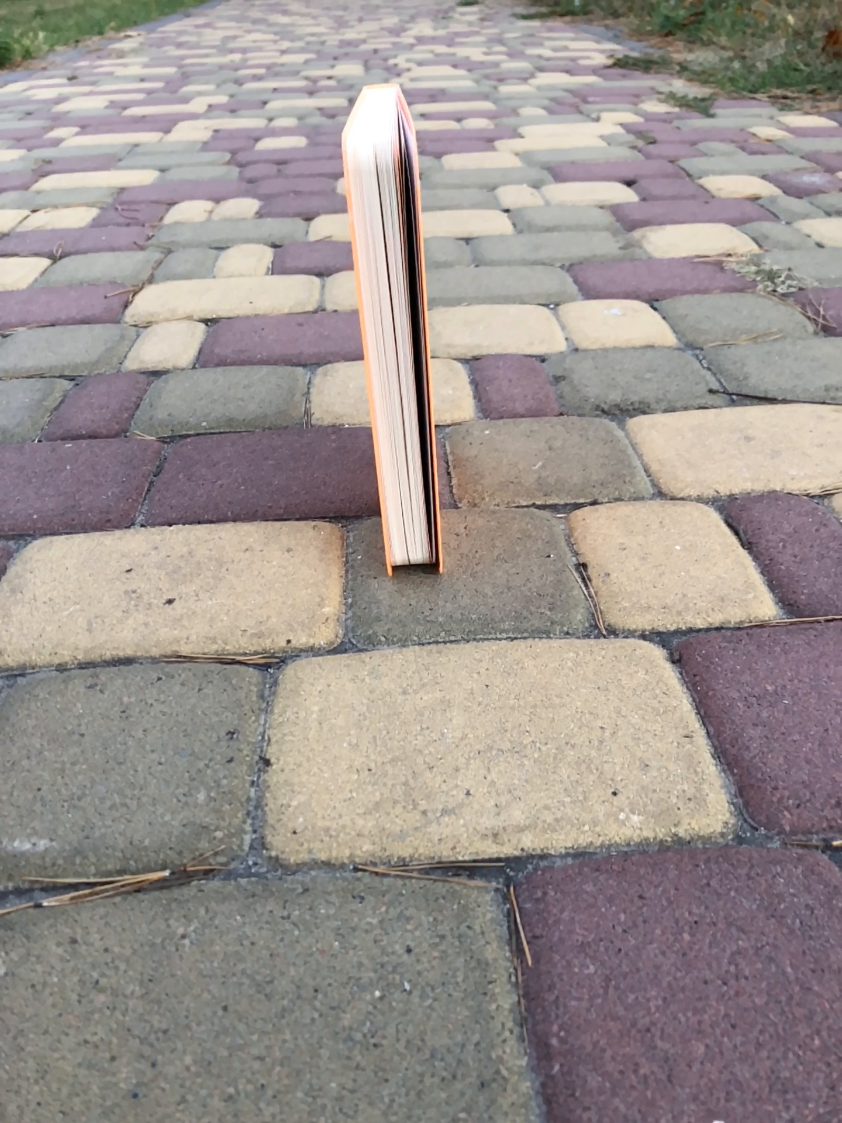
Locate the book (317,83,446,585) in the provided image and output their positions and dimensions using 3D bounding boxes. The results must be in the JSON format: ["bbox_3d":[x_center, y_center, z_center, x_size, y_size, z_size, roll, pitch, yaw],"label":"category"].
[{"bbox_3d":[-0.013,-0.119,0.466,0.040,0.200,0.165,-2,33,2],"label":"book"}]
